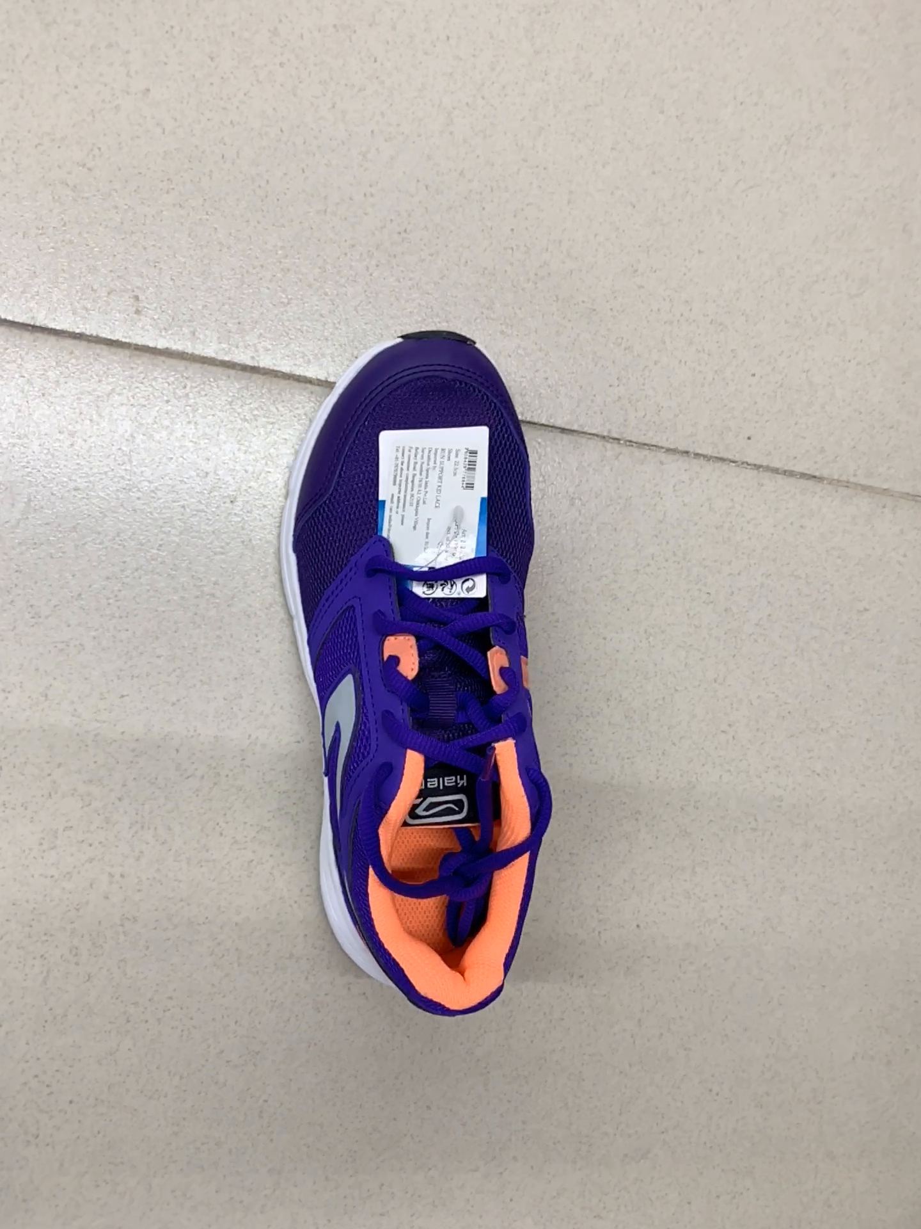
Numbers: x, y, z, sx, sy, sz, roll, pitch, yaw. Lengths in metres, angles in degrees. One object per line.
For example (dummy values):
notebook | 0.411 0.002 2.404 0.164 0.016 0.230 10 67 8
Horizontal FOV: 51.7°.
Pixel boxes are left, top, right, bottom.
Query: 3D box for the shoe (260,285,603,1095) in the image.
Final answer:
shoe | -0.016 0.022 0.352 0.100 0.100 0.250 -3 93 -13
